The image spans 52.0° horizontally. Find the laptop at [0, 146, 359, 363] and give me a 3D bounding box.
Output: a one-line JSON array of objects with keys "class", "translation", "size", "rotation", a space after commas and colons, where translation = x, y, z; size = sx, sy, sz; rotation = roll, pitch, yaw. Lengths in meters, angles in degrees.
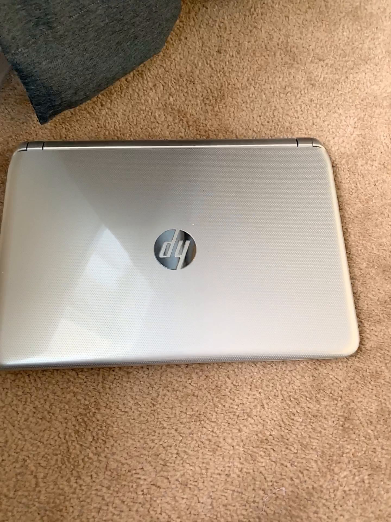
[{"class": "laptop", "translation": [-0.021, -0.017, 0.398], "size": [0.328, 0.002, 0.223], "rotation": [-1, 71, -1]}]
